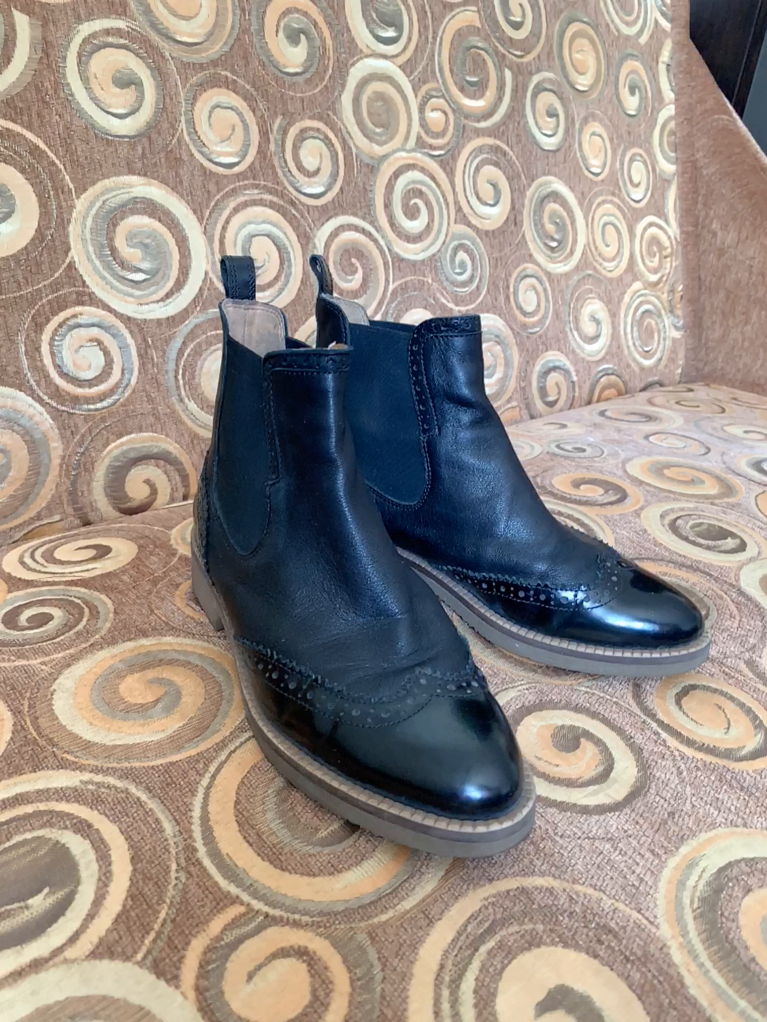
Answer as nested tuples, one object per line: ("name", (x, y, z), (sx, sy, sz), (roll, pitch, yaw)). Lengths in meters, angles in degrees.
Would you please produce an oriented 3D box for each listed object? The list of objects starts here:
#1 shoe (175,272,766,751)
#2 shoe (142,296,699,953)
("shoe", (0.032, -0.022, 0.416), (0.291, 0.139, 0.100), (22, 31, 27))
("shoe", (-0.018, 0.012, 0.324), (0.100, 0.139, 0.241), (-9, 31, -27))
